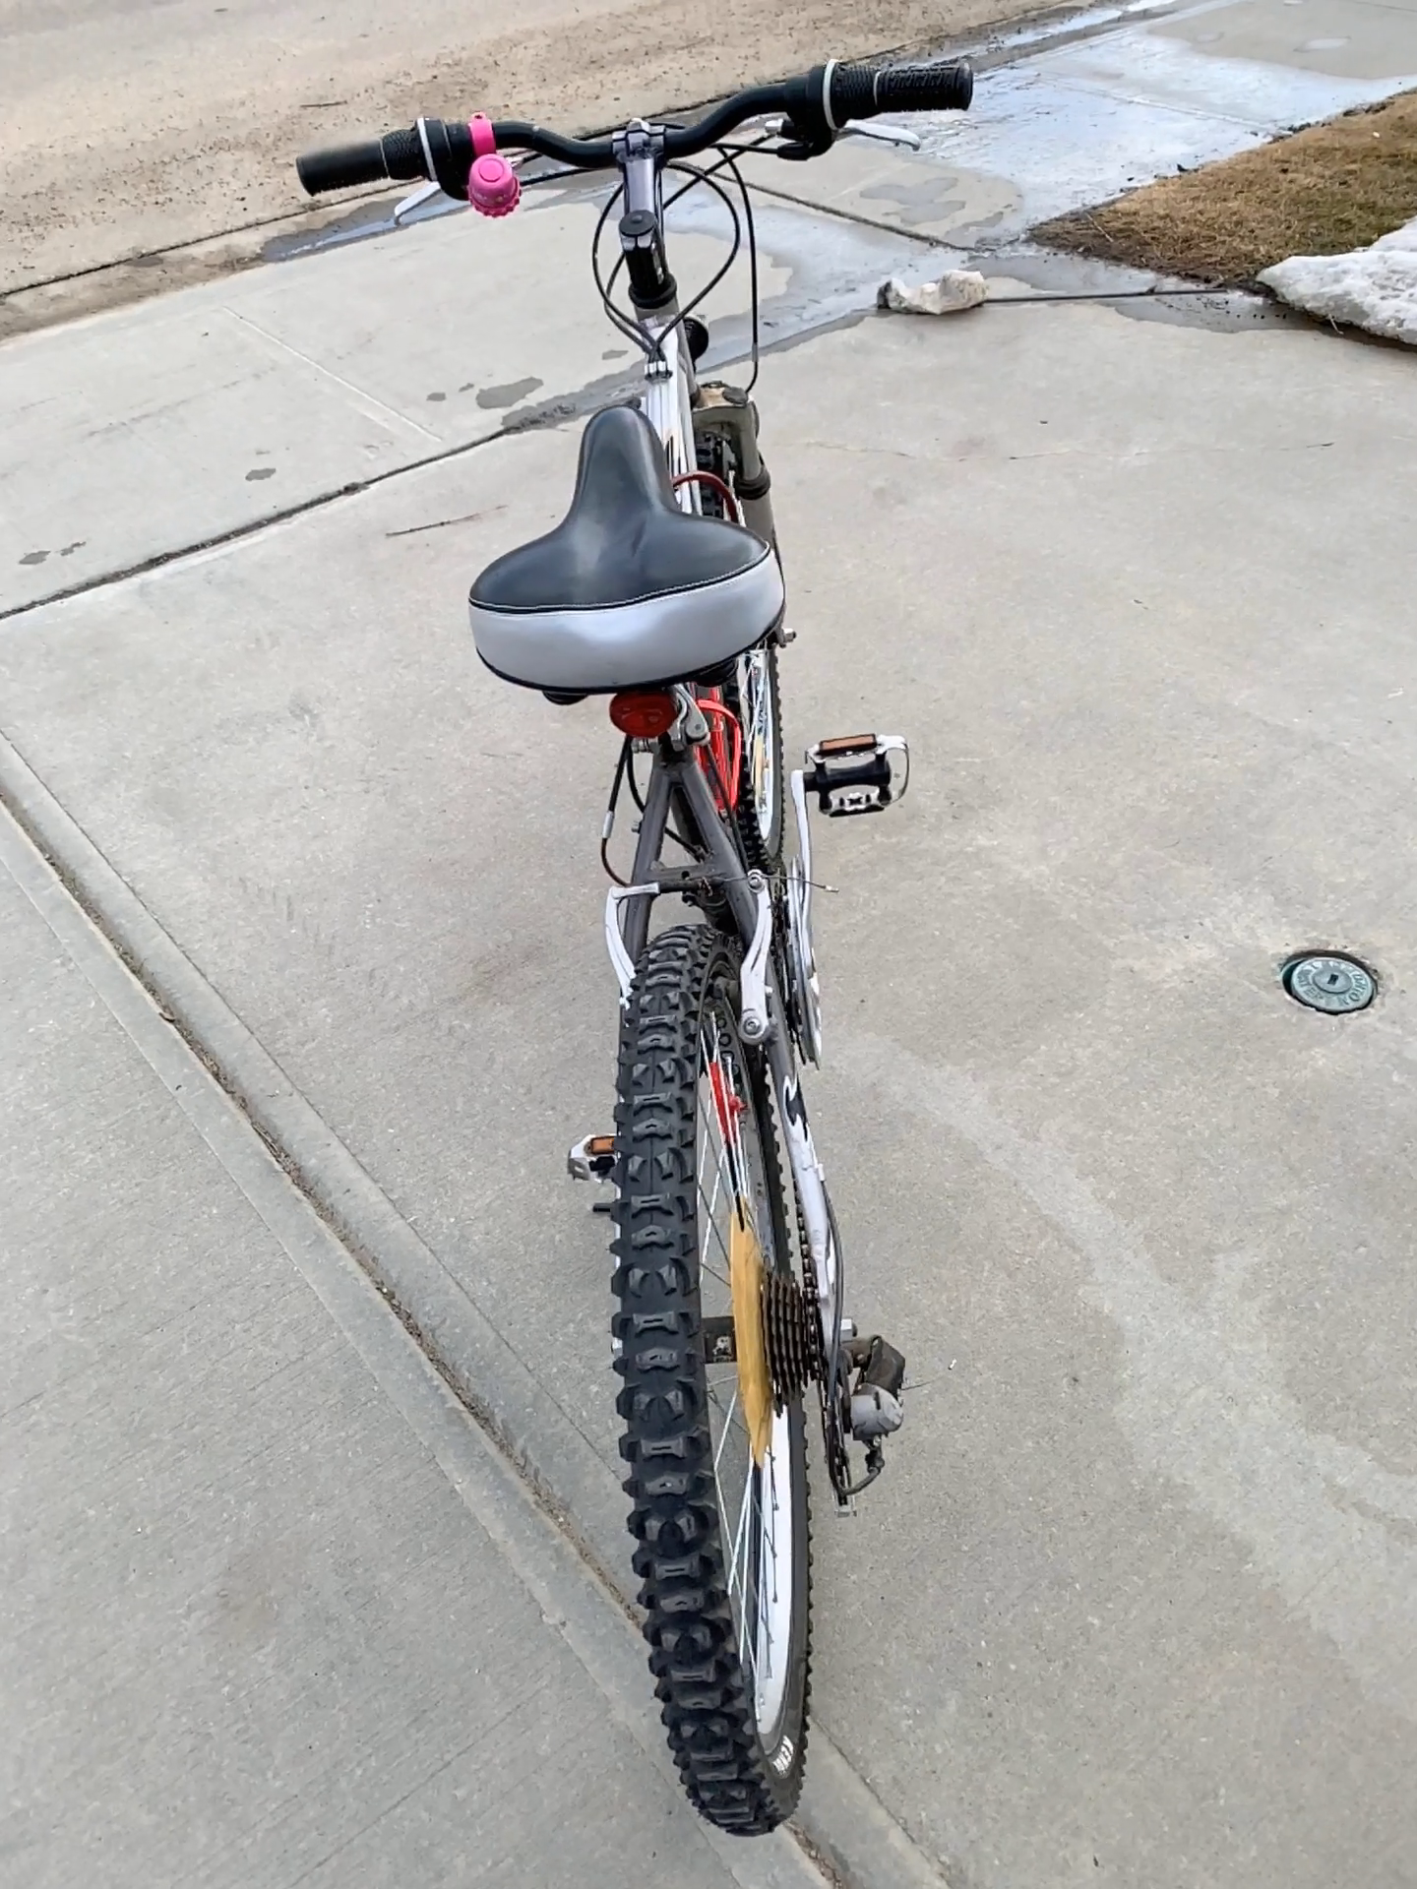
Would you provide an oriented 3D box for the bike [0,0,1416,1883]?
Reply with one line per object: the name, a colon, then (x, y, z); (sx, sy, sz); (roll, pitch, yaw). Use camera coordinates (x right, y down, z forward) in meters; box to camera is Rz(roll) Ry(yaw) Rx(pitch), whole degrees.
bike: (-0.033, -0.203, 1.221); (0.538, 0.825, 1.508); (-3, 47, 2)
